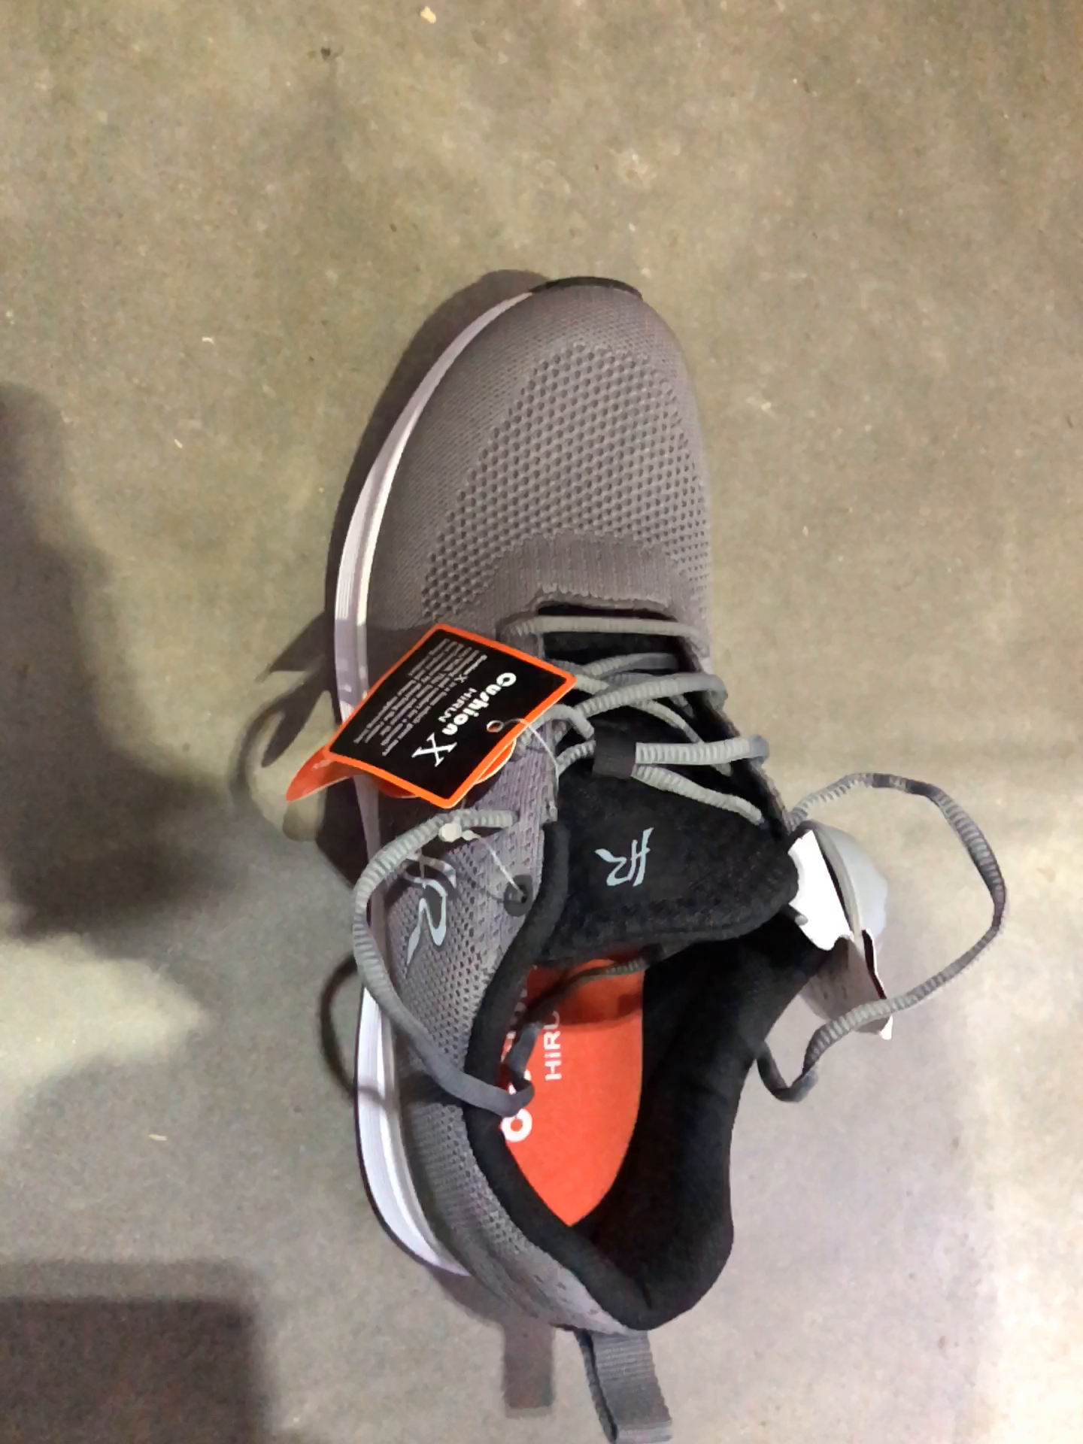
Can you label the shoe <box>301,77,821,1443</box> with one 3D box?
[{"bbox_3d":[-0.001,0.009,0.344,0.110,0.100,0.320,0,87,-23],"label":"shoe"}]
